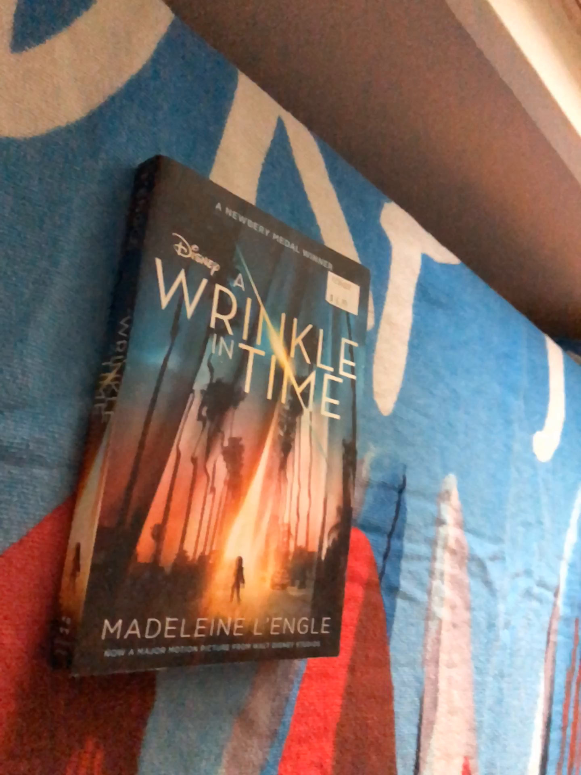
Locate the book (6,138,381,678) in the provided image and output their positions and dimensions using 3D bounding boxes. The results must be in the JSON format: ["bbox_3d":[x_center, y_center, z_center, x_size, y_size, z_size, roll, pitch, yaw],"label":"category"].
[{"bbox_3d":[-0.027,0.016,0.283,0.138,0.031,0.195,19,74,-41],"label":"book"}]
